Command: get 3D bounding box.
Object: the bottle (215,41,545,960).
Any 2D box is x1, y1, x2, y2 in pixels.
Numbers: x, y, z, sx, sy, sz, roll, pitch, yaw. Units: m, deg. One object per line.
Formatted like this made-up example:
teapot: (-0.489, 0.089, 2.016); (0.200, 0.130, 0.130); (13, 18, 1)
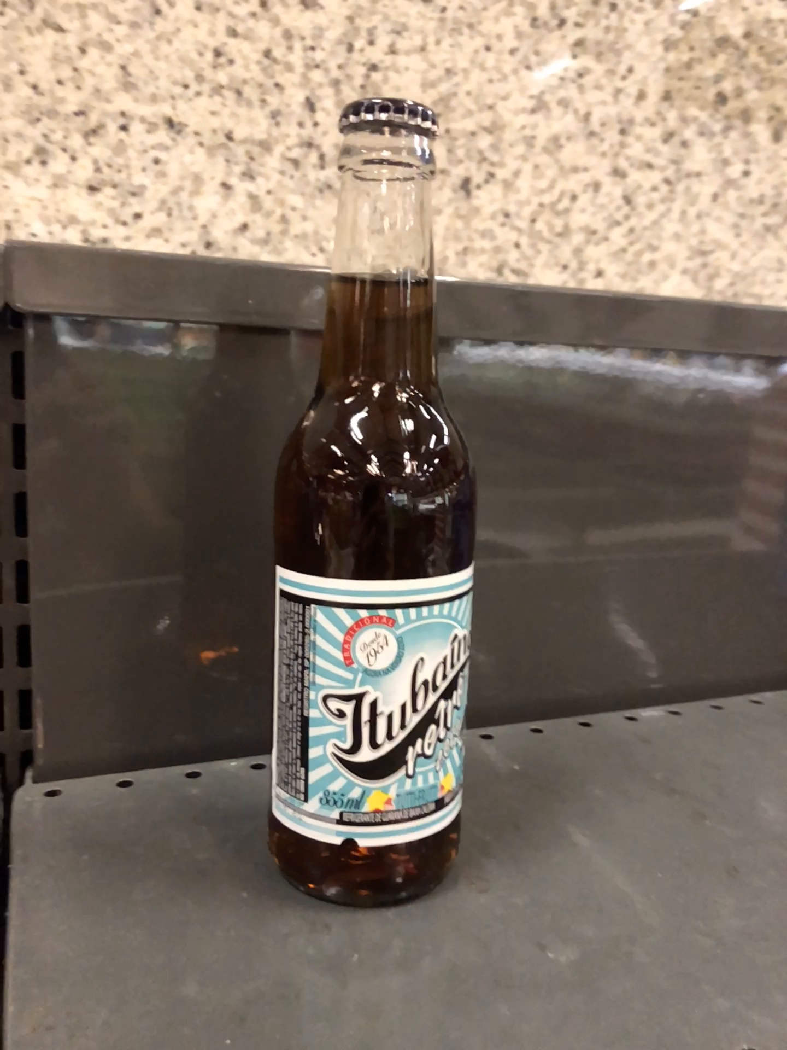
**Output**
bottle: (-0.009, -0.002, 0.264); (0.070, 0.239, 0.050); (-4, 14, -34)
